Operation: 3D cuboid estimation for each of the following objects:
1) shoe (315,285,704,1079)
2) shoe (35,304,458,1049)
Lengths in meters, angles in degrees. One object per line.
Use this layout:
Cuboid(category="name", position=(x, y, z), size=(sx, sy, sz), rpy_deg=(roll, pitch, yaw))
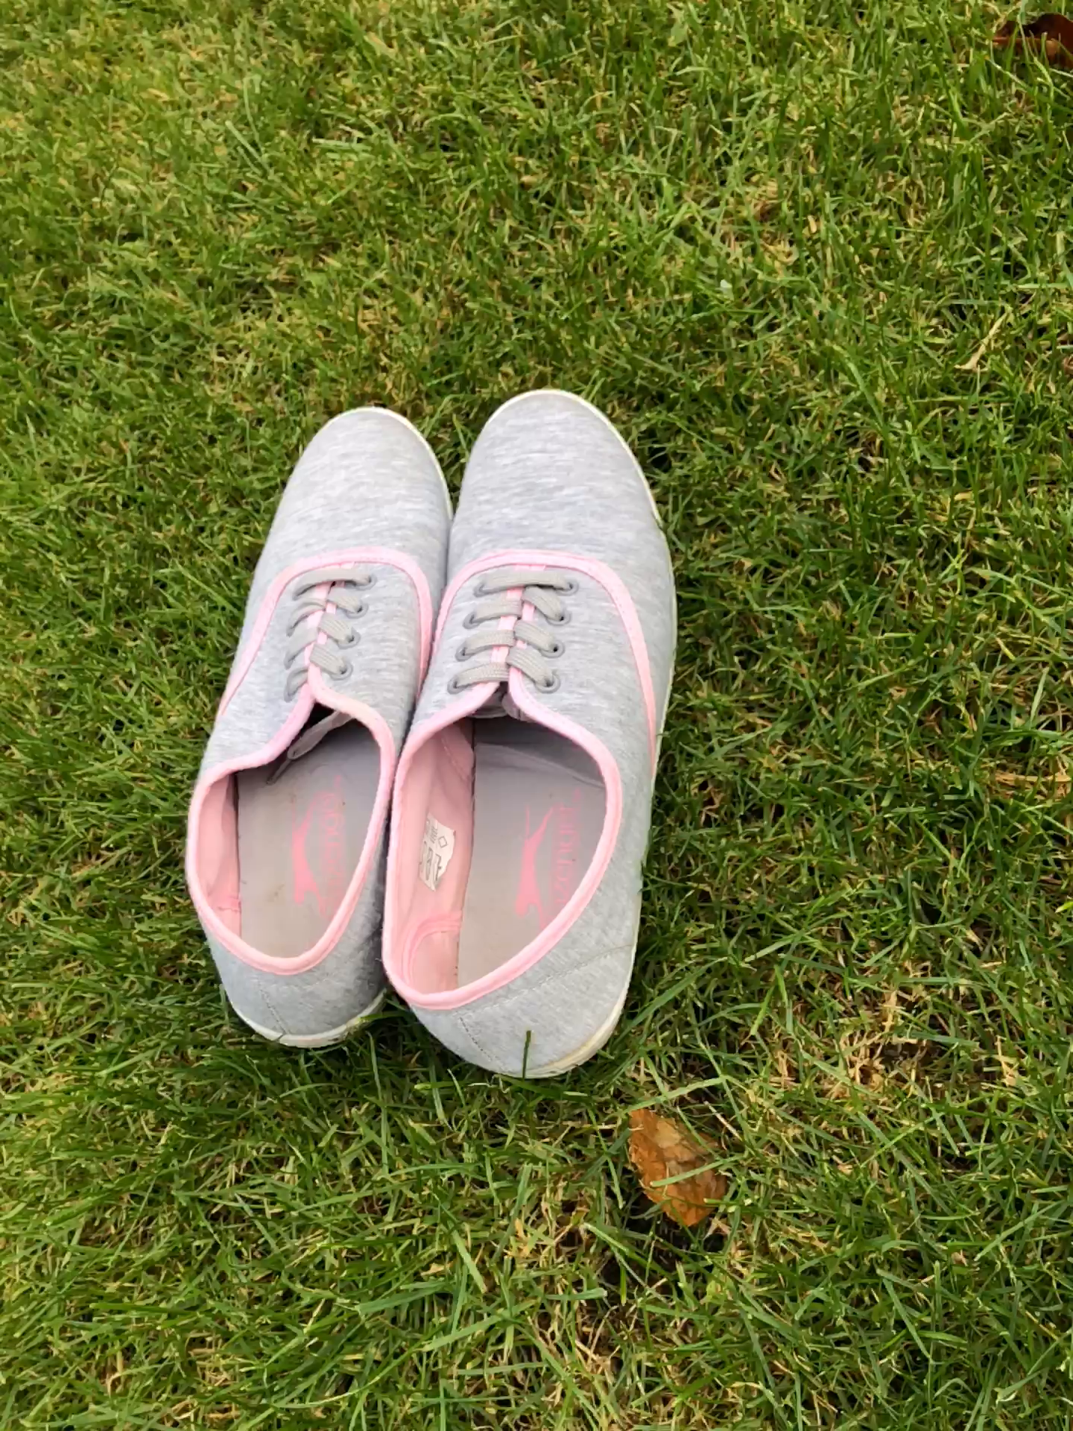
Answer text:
Cuboid(category="shoe", position=(-0.003, -0.009, 0.425), size=(0.100, 0.090, 0.261), rpy_deg=(-6, 69, 18))
Cuboid(category="shoe", position=(-0.098, -0.011, 0.454), size=(0.100, 0.090, 0.261), rpy_deg=(-6, 69, 18))
